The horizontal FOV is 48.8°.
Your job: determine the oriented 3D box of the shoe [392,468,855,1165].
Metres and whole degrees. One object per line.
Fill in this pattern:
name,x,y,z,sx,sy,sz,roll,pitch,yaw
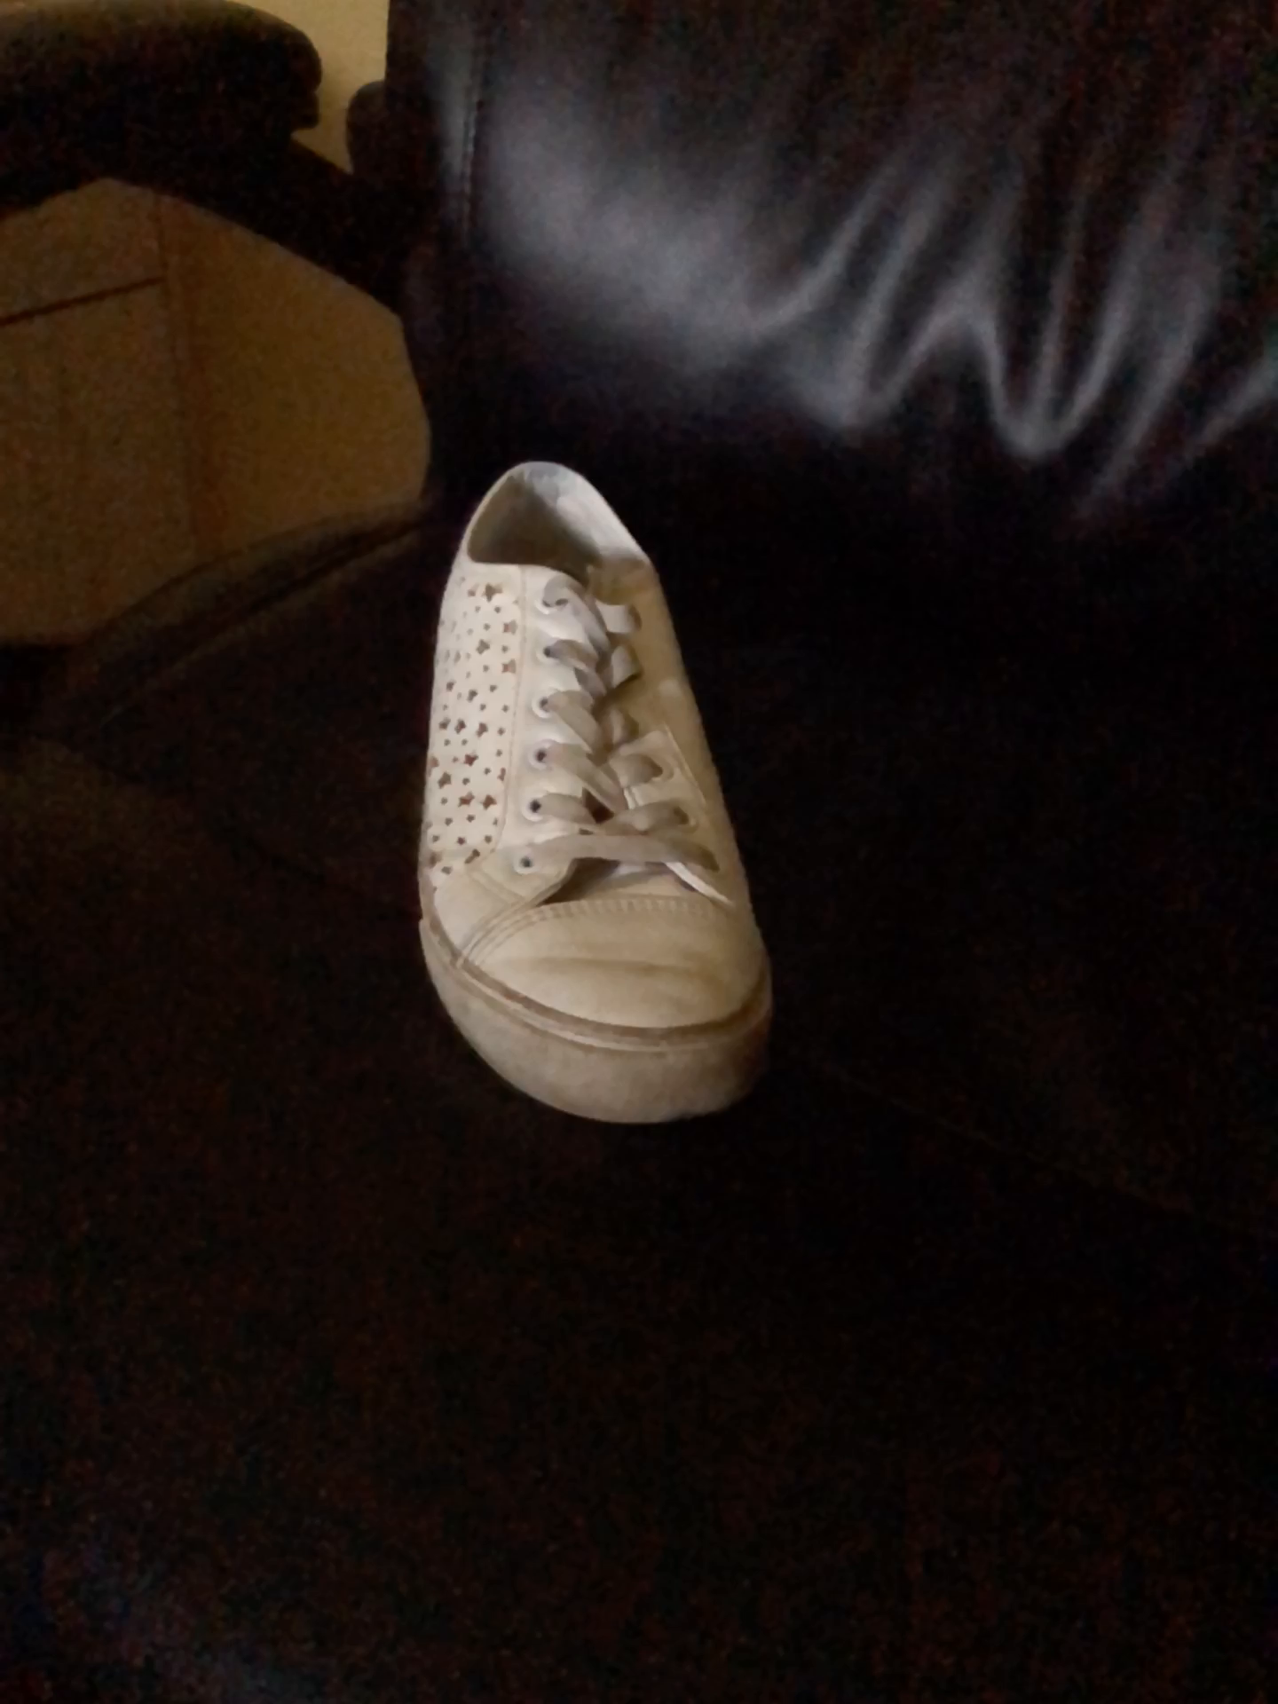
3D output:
shoe,-0.023,-0.034,0.437,0.100,0.099,0.261,-2,30,-9
